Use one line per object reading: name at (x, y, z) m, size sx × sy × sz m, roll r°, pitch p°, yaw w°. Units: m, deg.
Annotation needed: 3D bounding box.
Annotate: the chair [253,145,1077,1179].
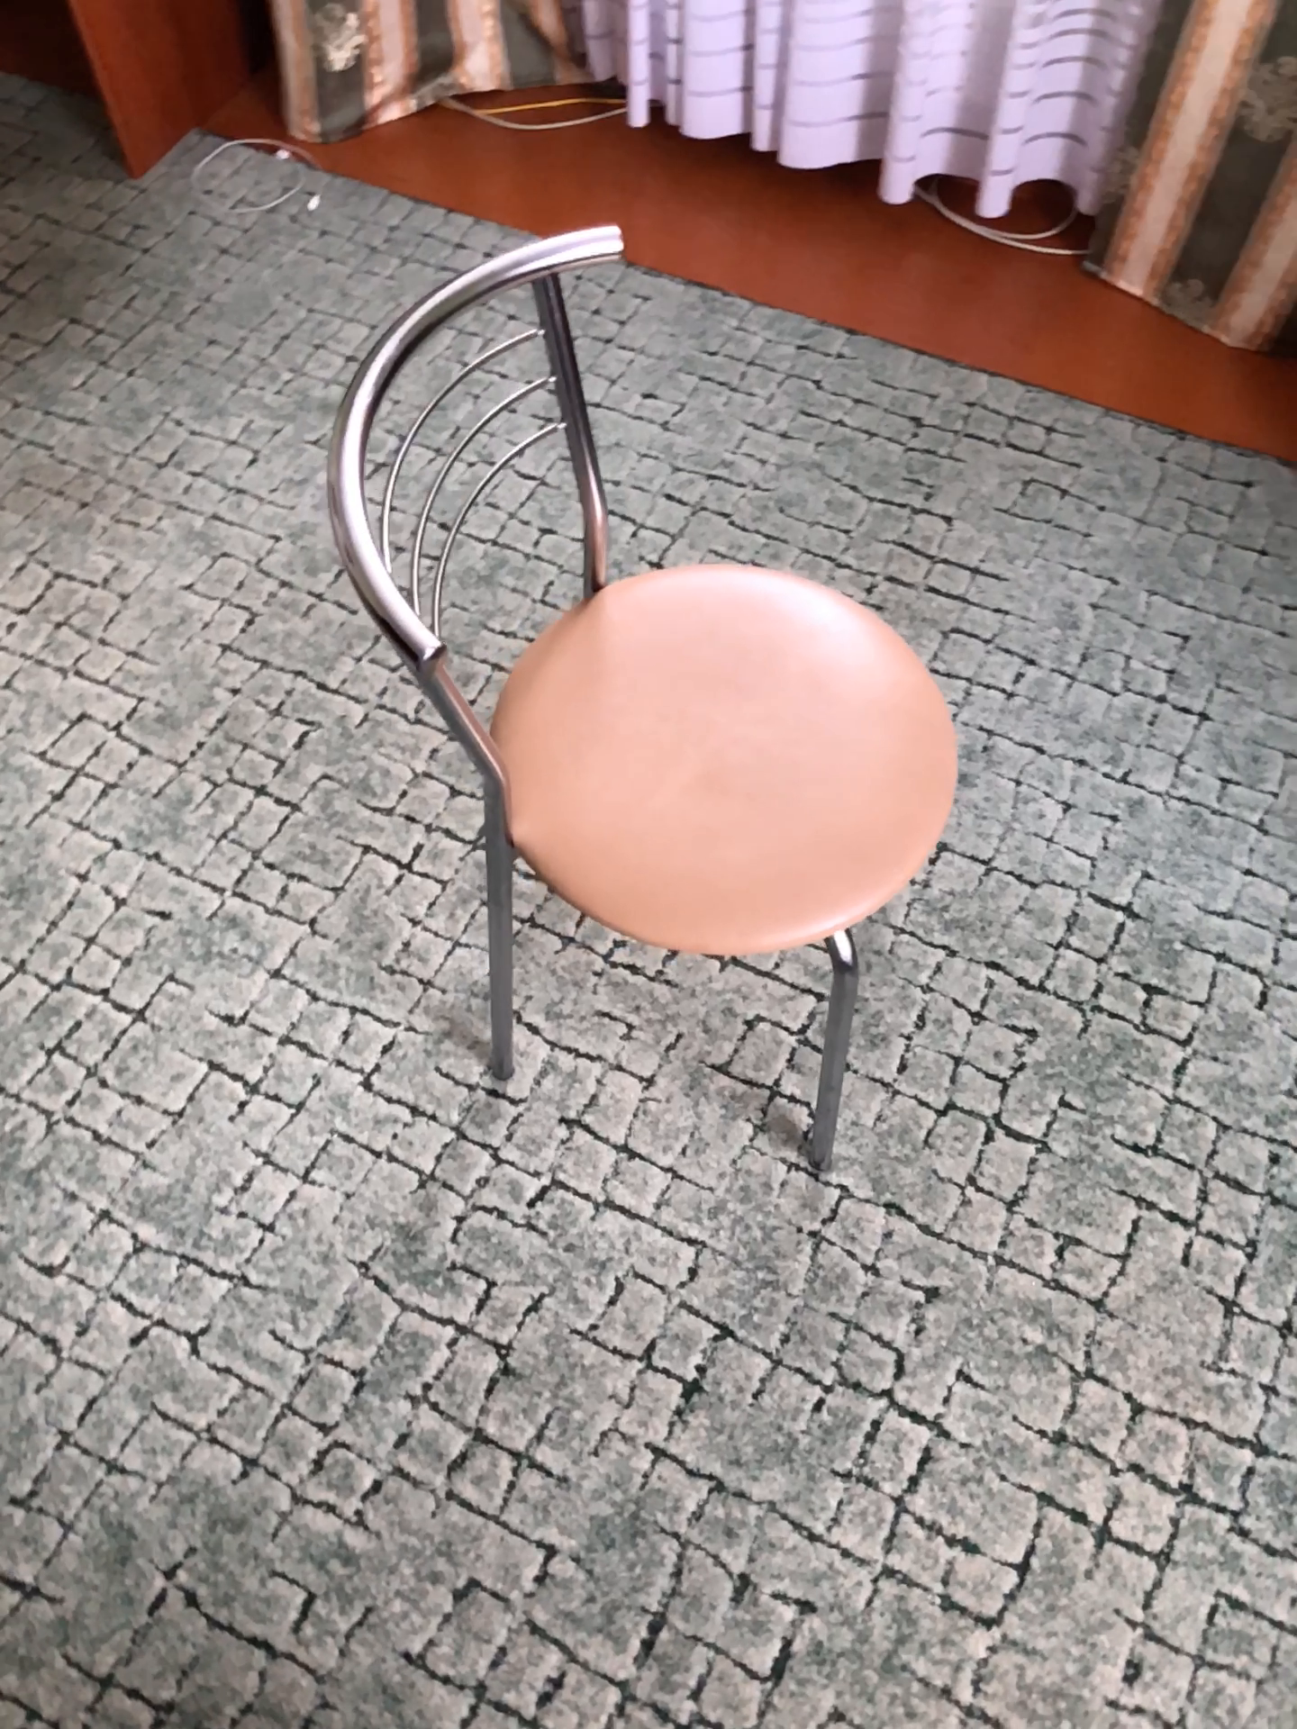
chair at (0.044, -0.113, 1.291) m, size 0.450 × 0.805 × 0.445 m, roll 12°, pitch 60°, yaw 9°
